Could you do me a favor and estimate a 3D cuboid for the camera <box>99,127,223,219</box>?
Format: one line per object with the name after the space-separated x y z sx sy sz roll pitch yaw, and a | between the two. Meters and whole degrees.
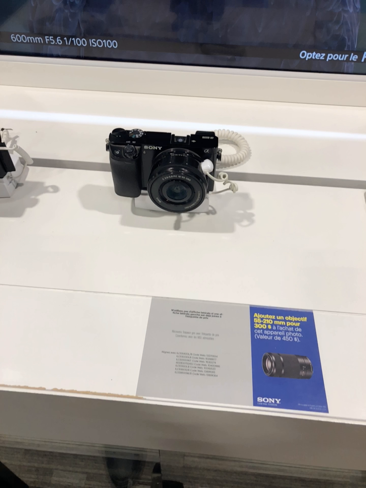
-0.021 -0.082 0.471 0.130 0.077 0.065 3 48 2 | camera
